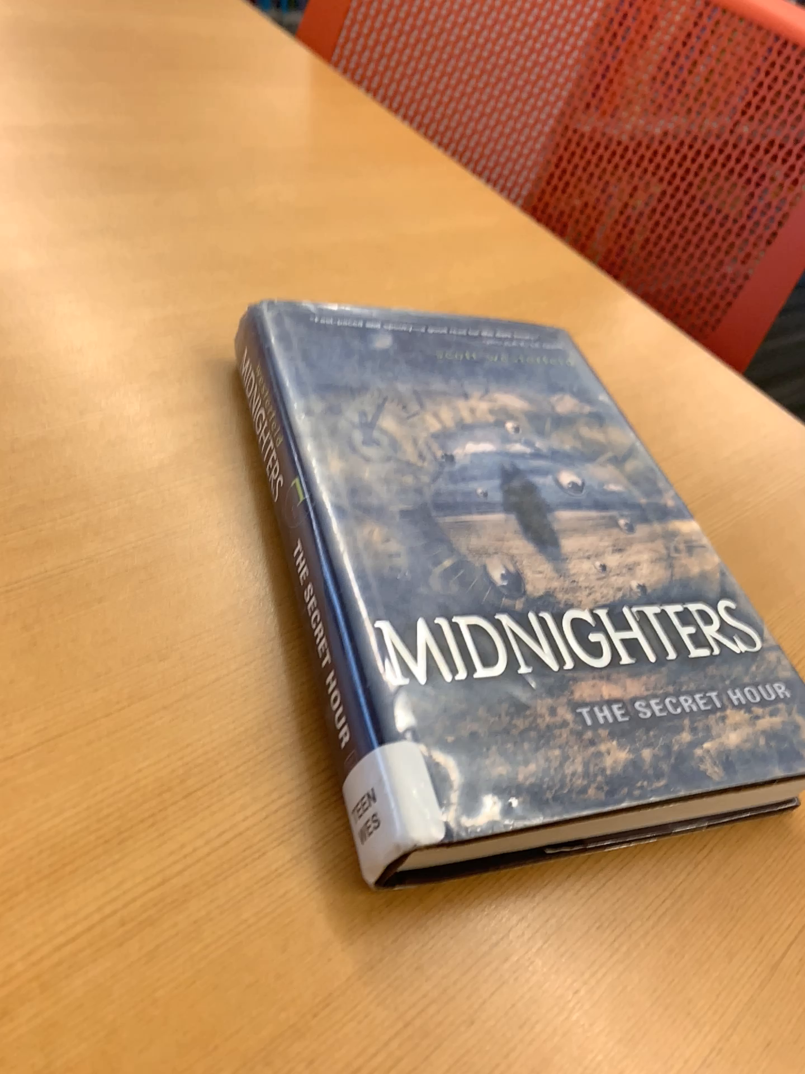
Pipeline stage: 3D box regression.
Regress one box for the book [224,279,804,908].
[{"bbox_3d":[0.033,-0.004,0.287,0.150,0.040,0.215,-1,49,-24],"label":"book"}]
